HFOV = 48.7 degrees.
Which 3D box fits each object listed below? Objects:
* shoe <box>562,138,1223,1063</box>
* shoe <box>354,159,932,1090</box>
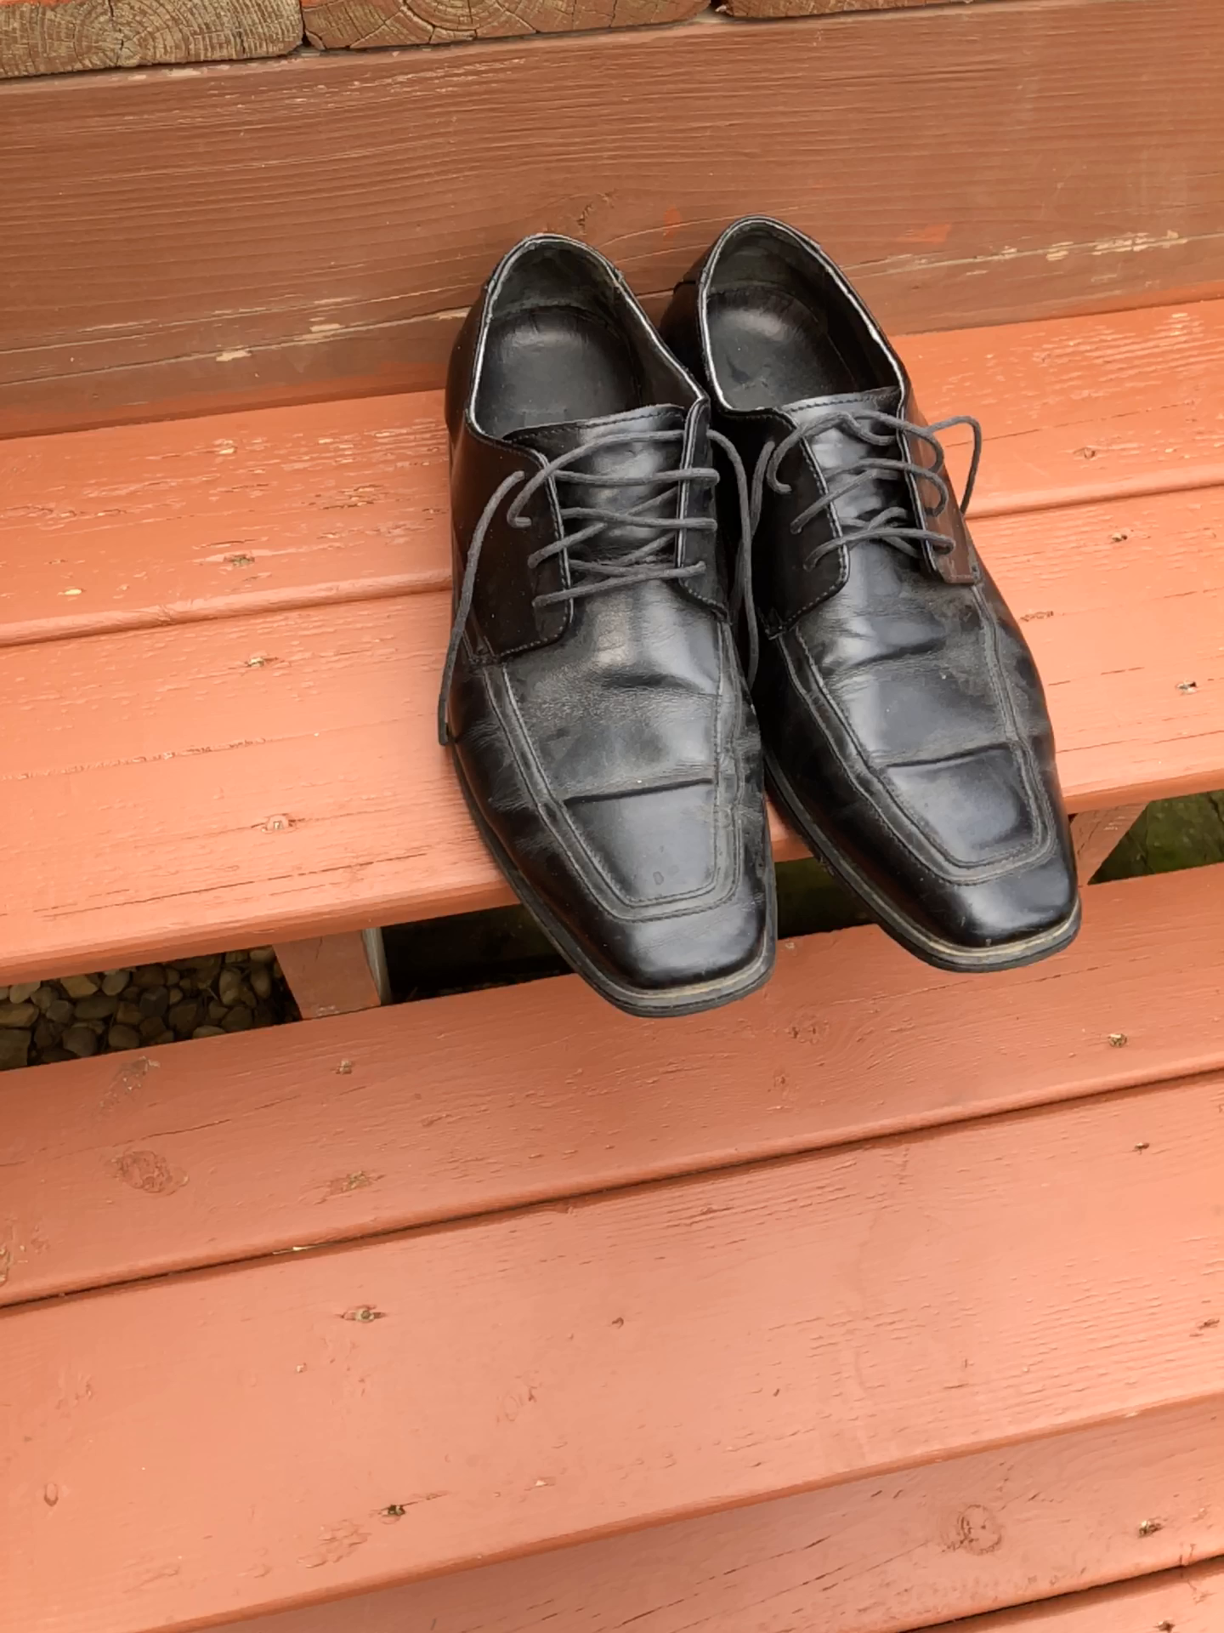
[{"bbox_3d":[0.086,-0.094,0.513,0.130,0.110,0.330,-13,63,-9],"label":"shoe"},{"bbox_3d":[-0.006,-0.084,0.507,0.130,0.110,0.330,-9,62,-7],"label":"shoe"}]
